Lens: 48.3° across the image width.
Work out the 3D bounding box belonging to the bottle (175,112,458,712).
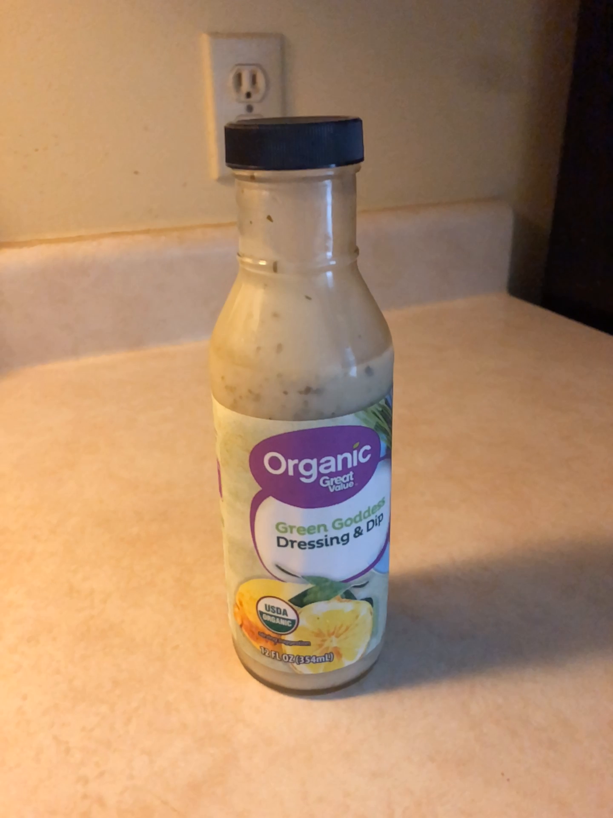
[{"bbox_3d":[0.000,0.002,0.237,0.070,0.189,0.070,-1,24,1],"label":"bottle"}]
